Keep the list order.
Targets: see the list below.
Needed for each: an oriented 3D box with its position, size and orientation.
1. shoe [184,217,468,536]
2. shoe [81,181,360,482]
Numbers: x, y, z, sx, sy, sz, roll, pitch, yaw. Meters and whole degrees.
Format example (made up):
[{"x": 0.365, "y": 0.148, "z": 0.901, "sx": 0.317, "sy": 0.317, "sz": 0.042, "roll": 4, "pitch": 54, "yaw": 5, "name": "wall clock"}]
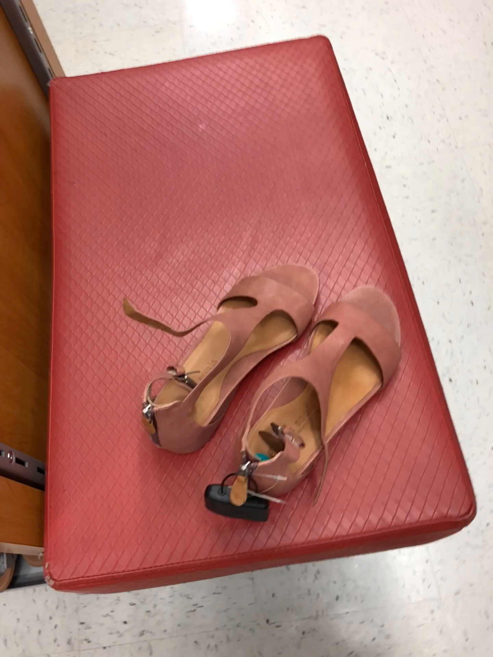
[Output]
[{"x": 0.076, "y": 0.045, "z": 0.510, "sx": 0.103, "sy": 0.126, "sz": 0.263, "roll": 35, "pitch": 70, "yaw": 18, "name": "shoe"}, {"x": -0.014, "y": 0.001, "z": 0.533, "sx": 0.106, "sy": 0.116, "sz": 0.261, "roll": 35, "pitch": 70, "yaw": 18, "name": "shoe"}]
